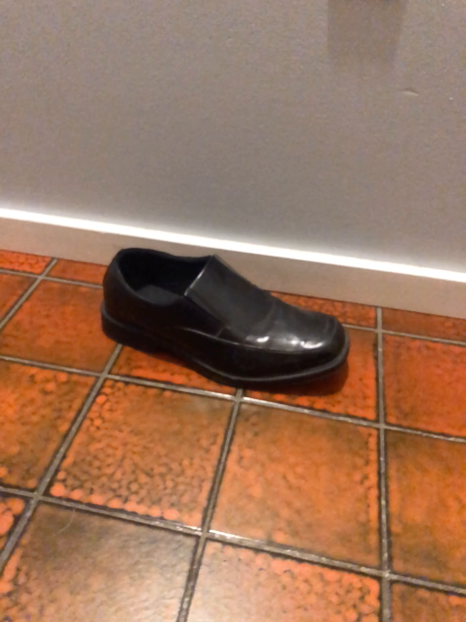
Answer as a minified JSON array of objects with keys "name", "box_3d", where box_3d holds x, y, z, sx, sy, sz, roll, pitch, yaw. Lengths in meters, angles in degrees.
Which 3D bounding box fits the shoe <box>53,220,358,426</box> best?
[{"name":"shoe","box_3d":[-0.031,0.003,0.582,0.300,0.100,0.120,17,42,16]}]
